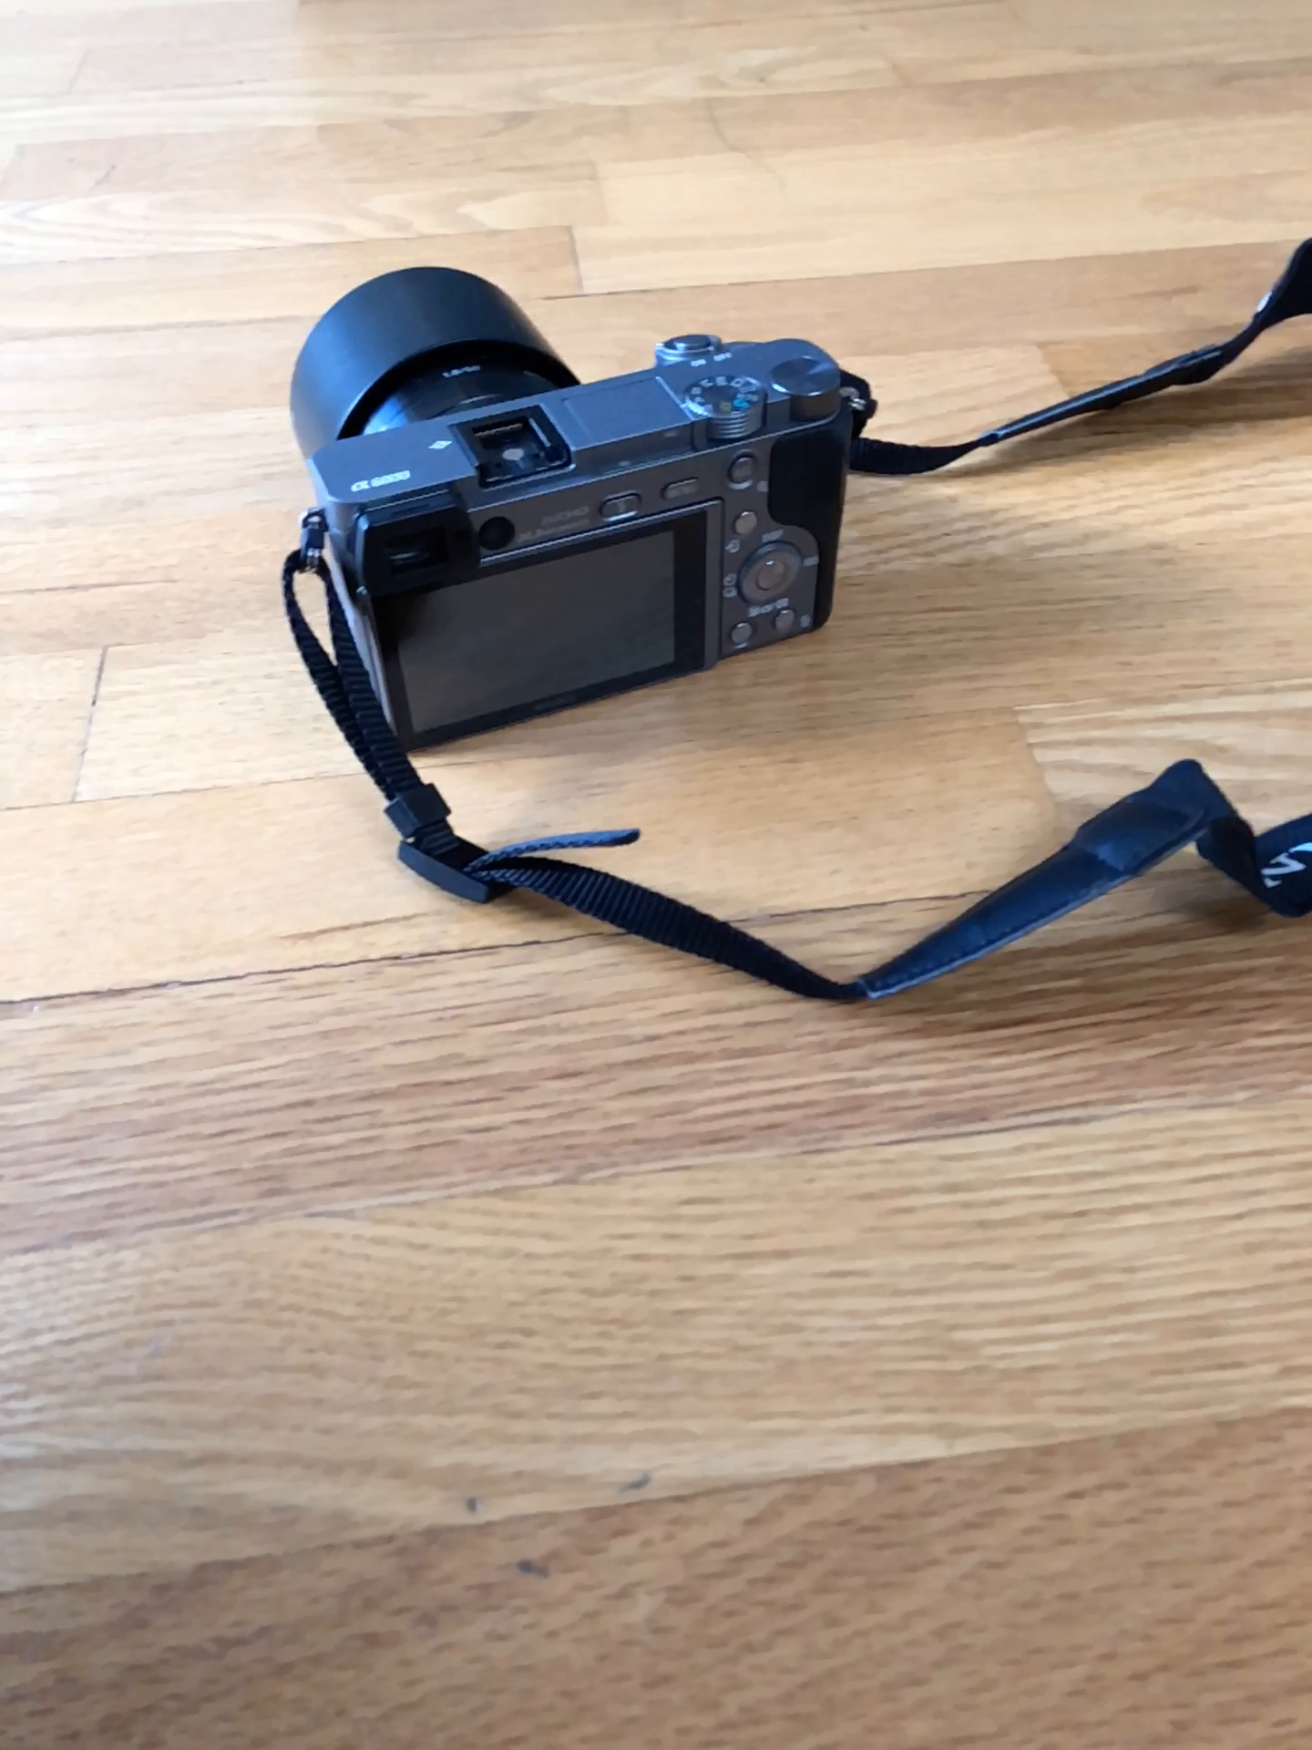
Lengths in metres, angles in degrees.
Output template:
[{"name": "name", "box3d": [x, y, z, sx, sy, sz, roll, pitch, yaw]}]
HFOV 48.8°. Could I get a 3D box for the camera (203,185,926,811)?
[{"name": "camera", "box3d": [-0.024, -0.098, 0.360, 0.136, 0.079, 0.107, -19, 50, -16]}]
